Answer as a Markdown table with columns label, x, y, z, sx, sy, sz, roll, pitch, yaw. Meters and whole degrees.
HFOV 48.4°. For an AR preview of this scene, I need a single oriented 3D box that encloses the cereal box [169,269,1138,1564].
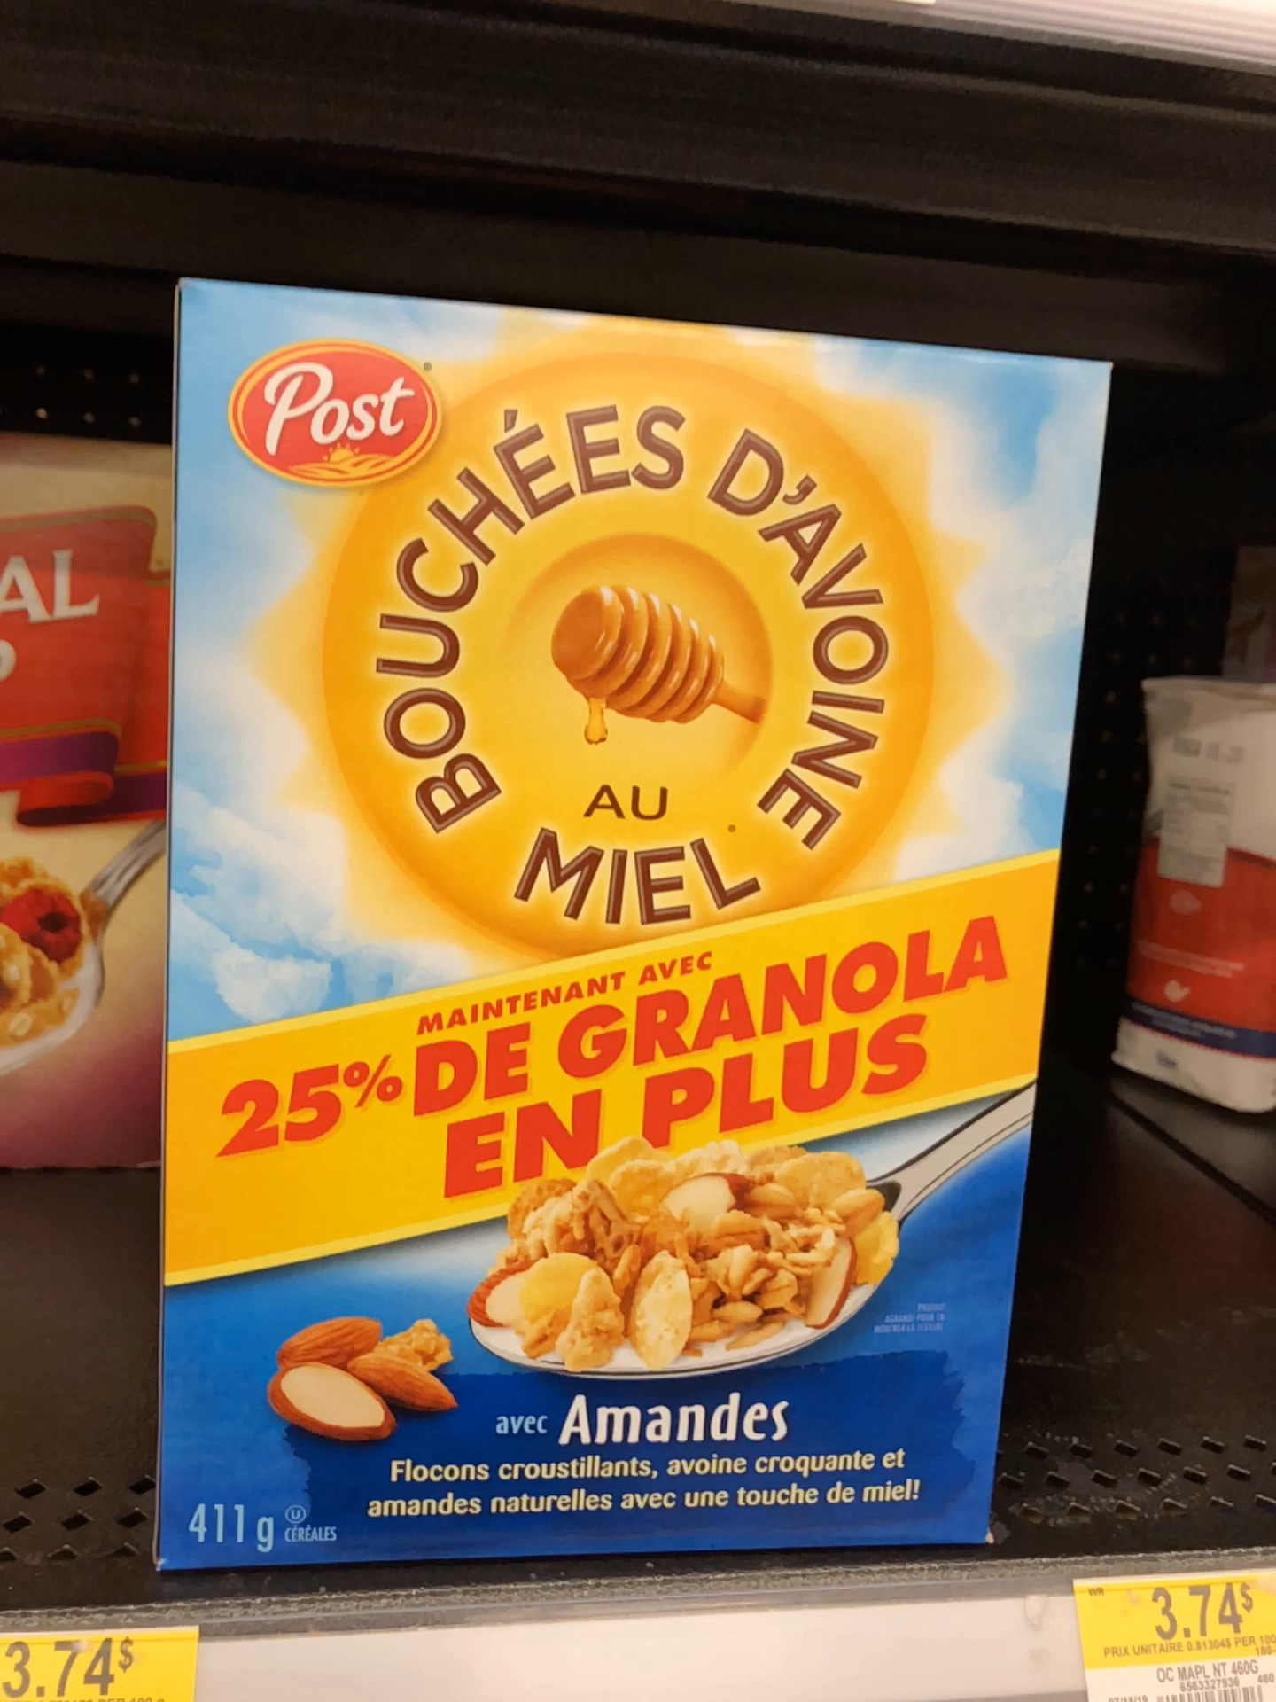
| label | x | y | z | sx | sy | sz | roll | pitch | yaw |
| --- | --- | --- | --- | --- | --- | --- | --- | --- | --- |
| cereal box | -0.002 | 0.021 | 0.331 | 0.190 | 0.269 | 0.060 | 3 | 8 | -7 |
